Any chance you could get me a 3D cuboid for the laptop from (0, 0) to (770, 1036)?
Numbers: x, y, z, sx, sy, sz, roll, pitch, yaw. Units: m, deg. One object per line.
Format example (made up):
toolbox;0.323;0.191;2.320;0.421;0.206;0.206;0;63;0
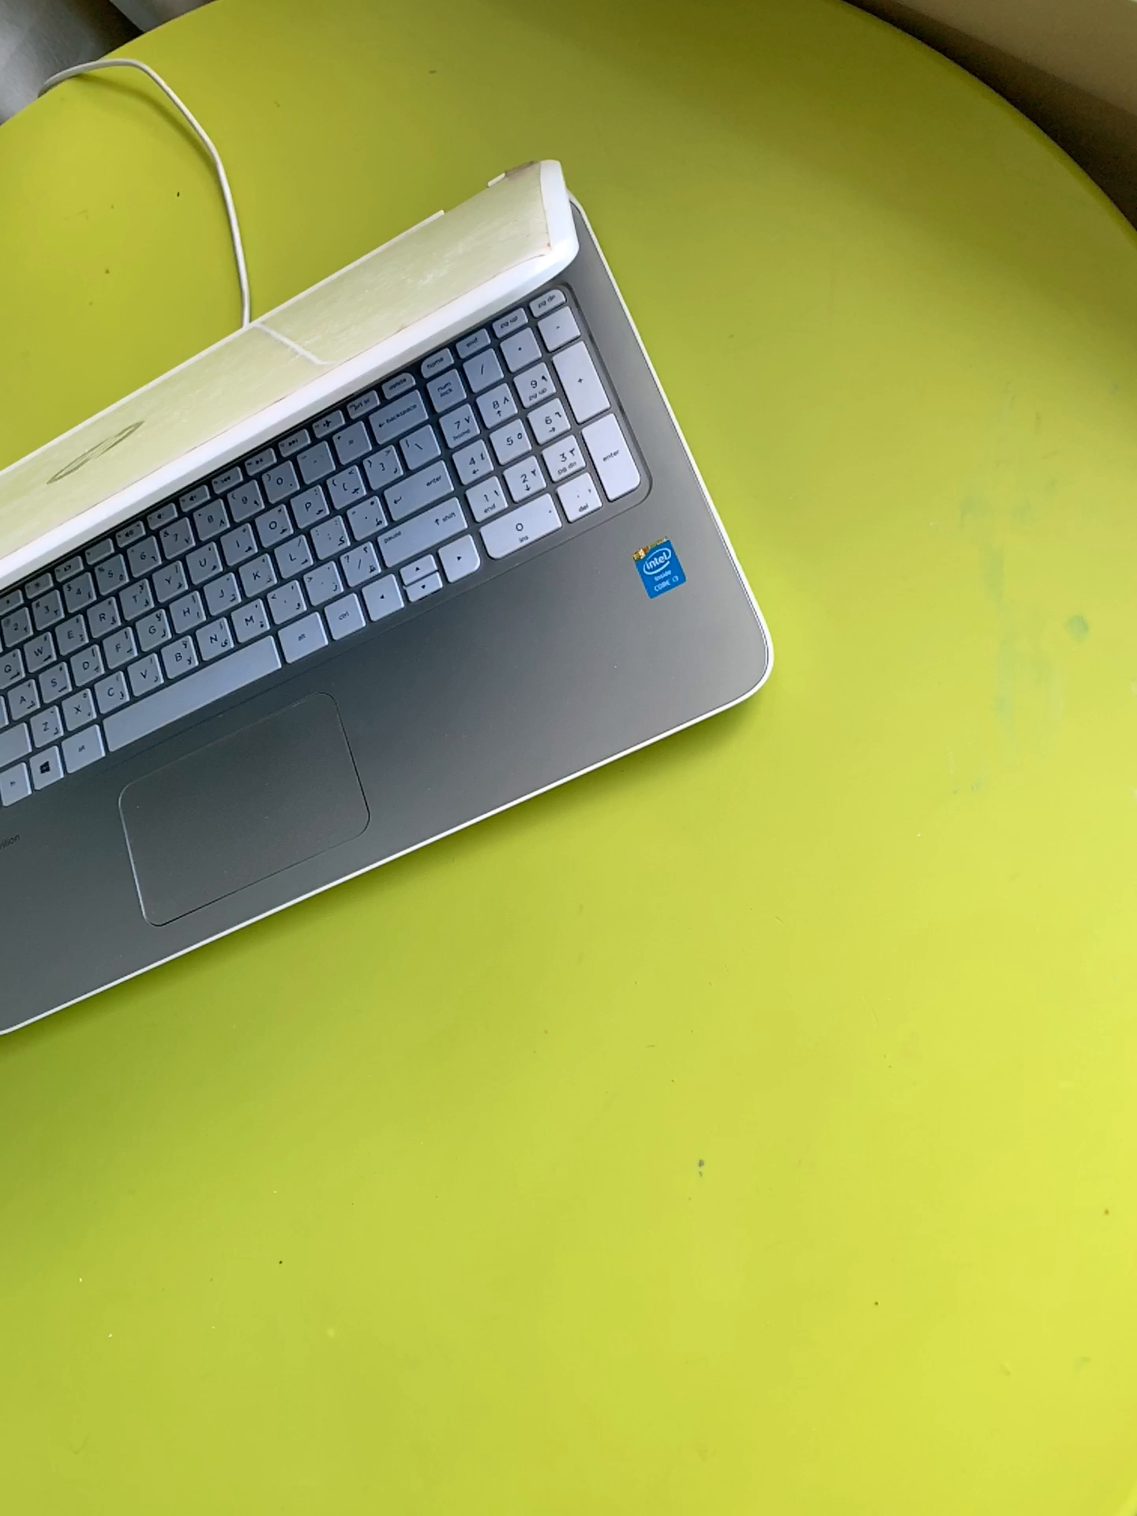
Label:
laptop;-0.158;-0.082;0.420;0.367;0.163;0.243;-24;70;12
